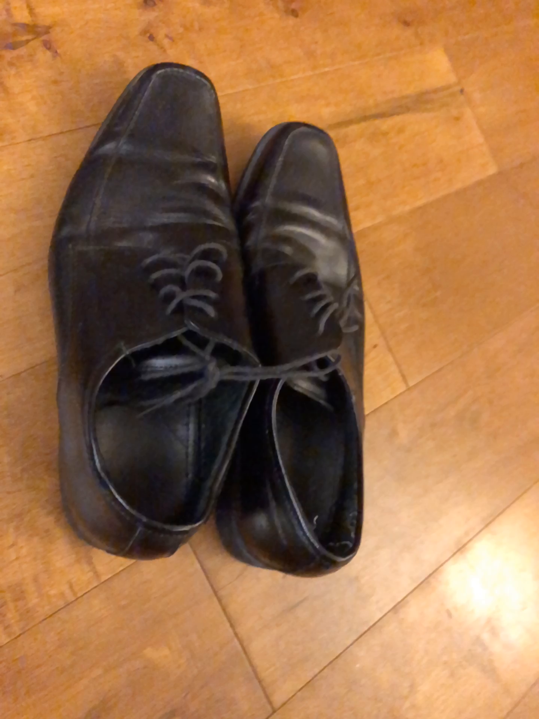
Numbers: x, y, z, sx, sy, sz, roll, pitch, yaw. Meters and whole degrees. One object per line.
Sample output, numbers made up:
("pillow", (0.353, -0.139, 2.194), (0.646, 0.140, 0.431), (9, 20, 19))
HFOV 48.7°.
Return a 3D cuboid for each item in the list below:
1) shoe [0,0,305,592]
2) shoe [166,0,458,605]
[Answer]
("shoe", (-0.068, -0.051, 0.321), (0.110, 0.130, 0.310), (9, 76, -24))
("shoe", (0.024, -0.030, 0.361), (0.110, 0.130, 0.310), (9, 76, -24))
